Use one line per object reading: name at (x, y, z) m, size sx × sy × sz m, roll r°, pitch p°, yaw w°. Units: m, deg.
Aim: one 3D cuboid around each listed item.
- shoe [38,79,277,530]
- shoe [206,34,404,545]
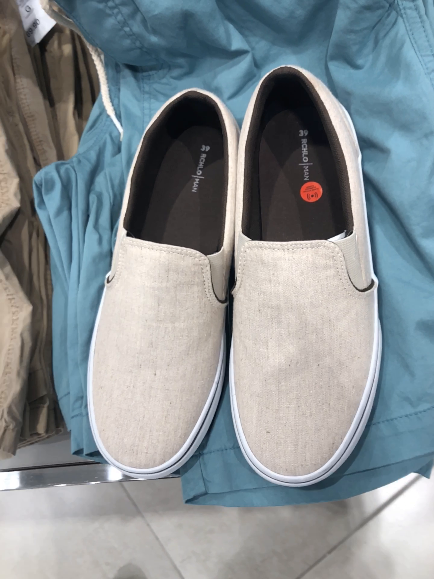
shoe at (-0.032, 0.003, 0.334) m, size 0.100 × 0.090 × 0.260 m, roll 8°, pitch 87°, yaw 15°
shoe at (0.055, -0.002, 0.301) m, size 0.100 × 0.090 × 0.260 m, roll -1°, pitch 85°, yaw 14°
